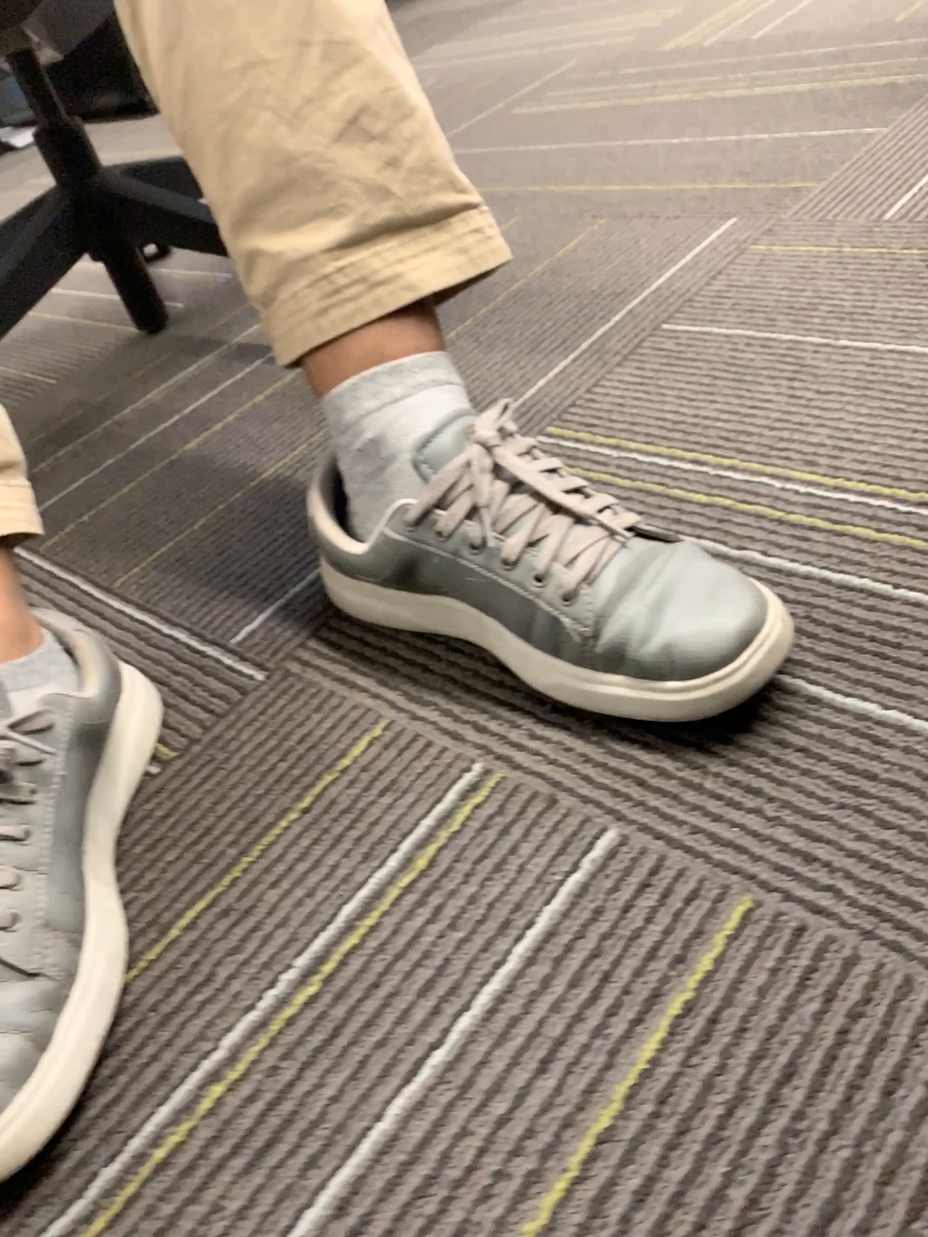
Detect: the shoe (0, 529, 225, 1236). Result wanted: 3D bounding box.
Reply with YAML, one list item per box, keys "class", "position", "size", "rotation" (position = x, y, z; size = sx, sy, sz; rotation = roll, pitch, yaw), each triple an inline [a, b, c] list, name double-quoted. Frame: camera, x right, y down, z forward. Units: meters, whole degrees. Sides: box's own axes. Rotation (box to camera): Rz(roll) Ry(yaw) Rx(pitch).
- class: "shoe"
  position: [-0.205, 0.106, 0.419]
  size: [0.120, 0.139, 0.272]
  rotation: [-15, 38, 6]

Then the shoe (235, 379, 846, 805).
- class: "shoe"
  position: [0.031, -0.033, 0.494]
  size: [0.281, 0.109, 0.120]
  rotation: [18, 51, 39]
